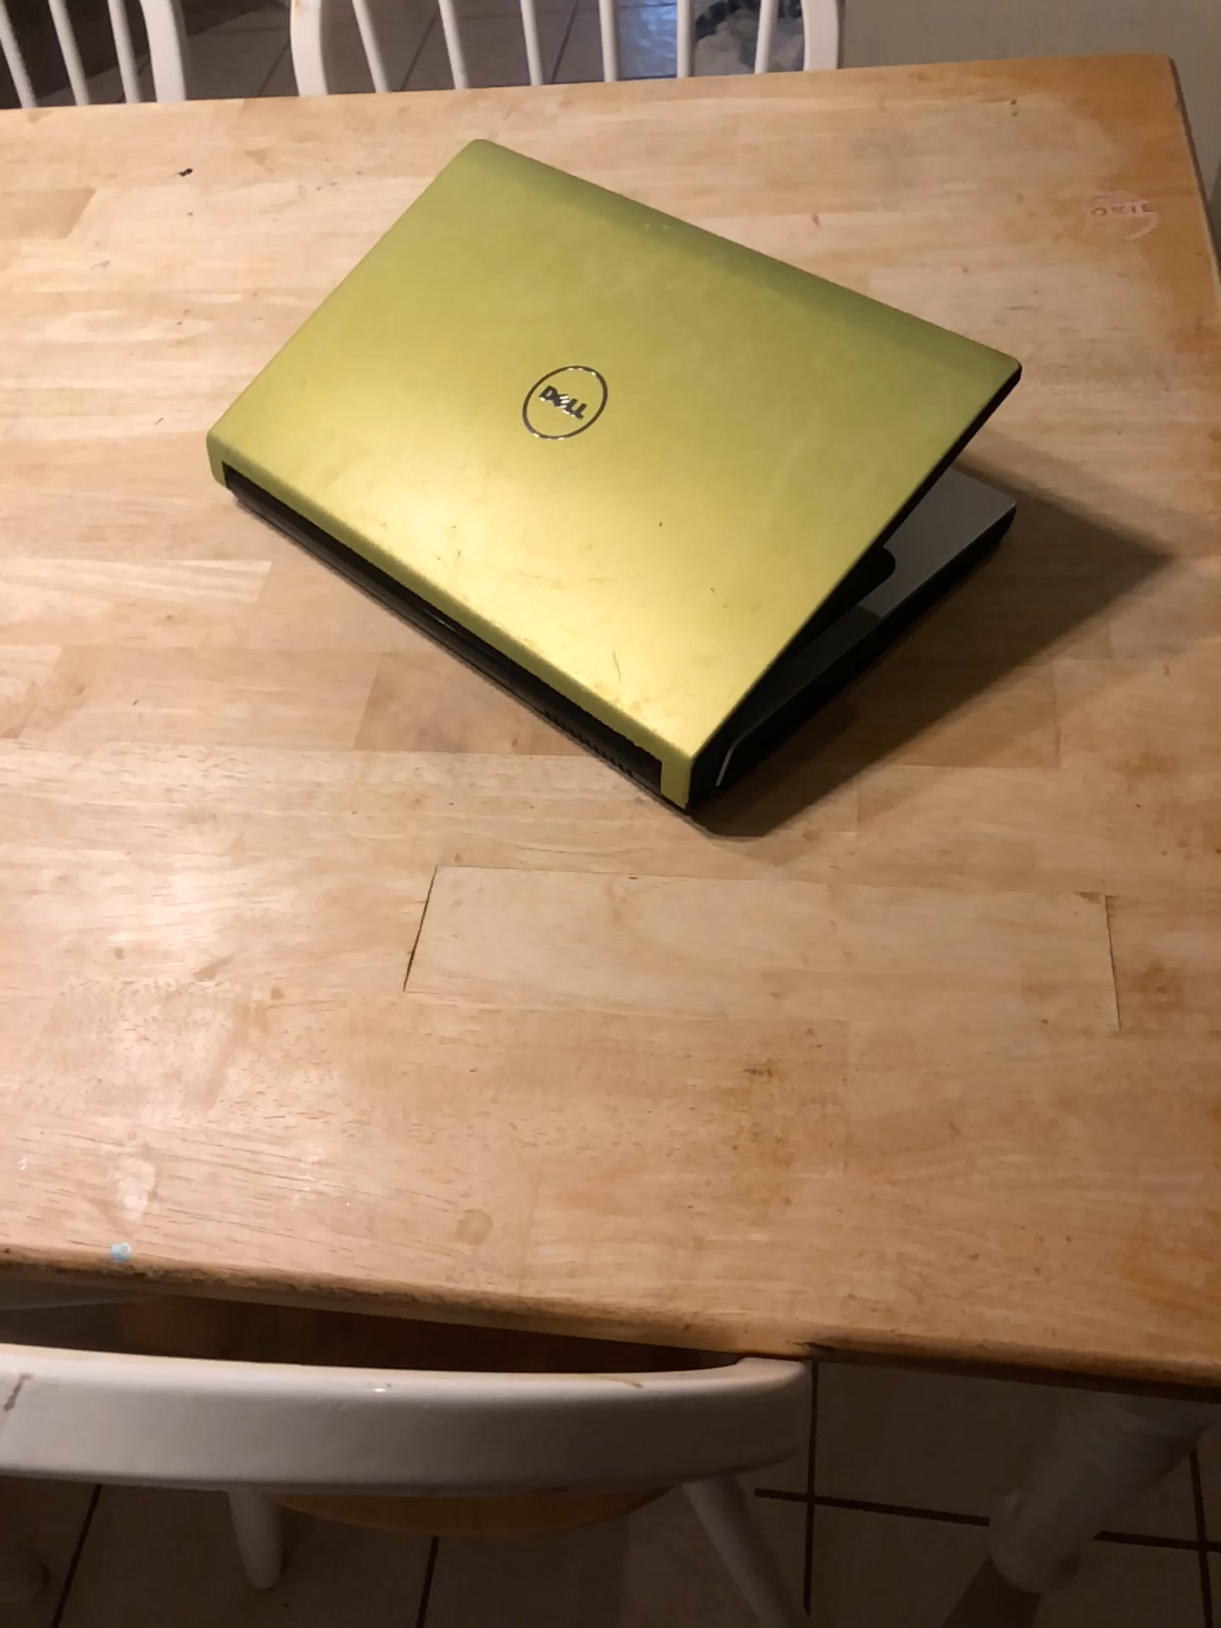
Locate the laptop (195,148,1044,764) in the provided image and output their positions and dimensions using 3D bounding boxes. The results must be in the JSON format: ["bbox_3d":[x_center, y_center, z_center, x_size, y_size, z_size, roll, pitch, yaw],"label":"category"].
[{"bbox_3d":[-0.004,-0.204,0.674,0.359,0.077,0.227,36,63,30],"label":"laptop"}]
